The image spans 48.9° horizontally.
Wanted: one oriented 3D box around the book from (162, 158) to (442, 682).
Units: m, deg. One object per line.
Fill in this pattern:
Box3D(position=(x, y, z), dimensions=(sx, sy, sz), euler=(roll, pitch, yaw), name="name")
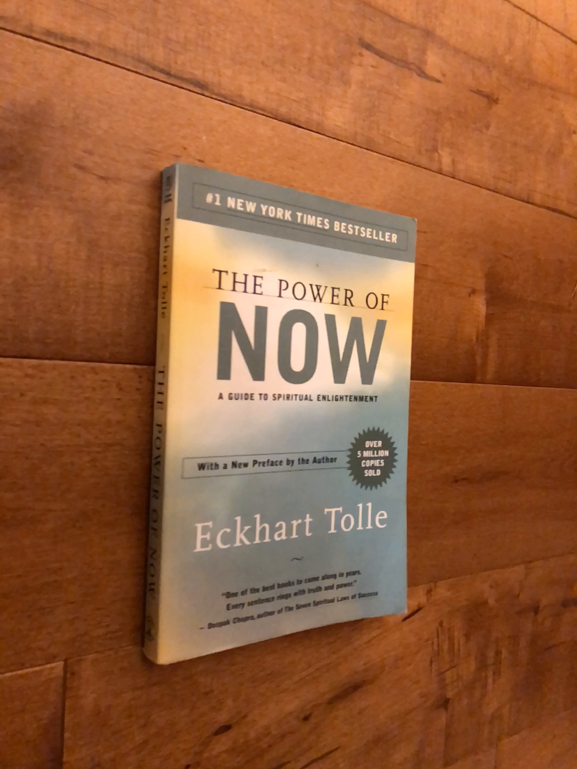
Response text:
Box3D(position=(0.013, 0.016, 0.323), dimensions=(0.146, 0.030, 0.222), euler=(1, 90, -35), name="book")
